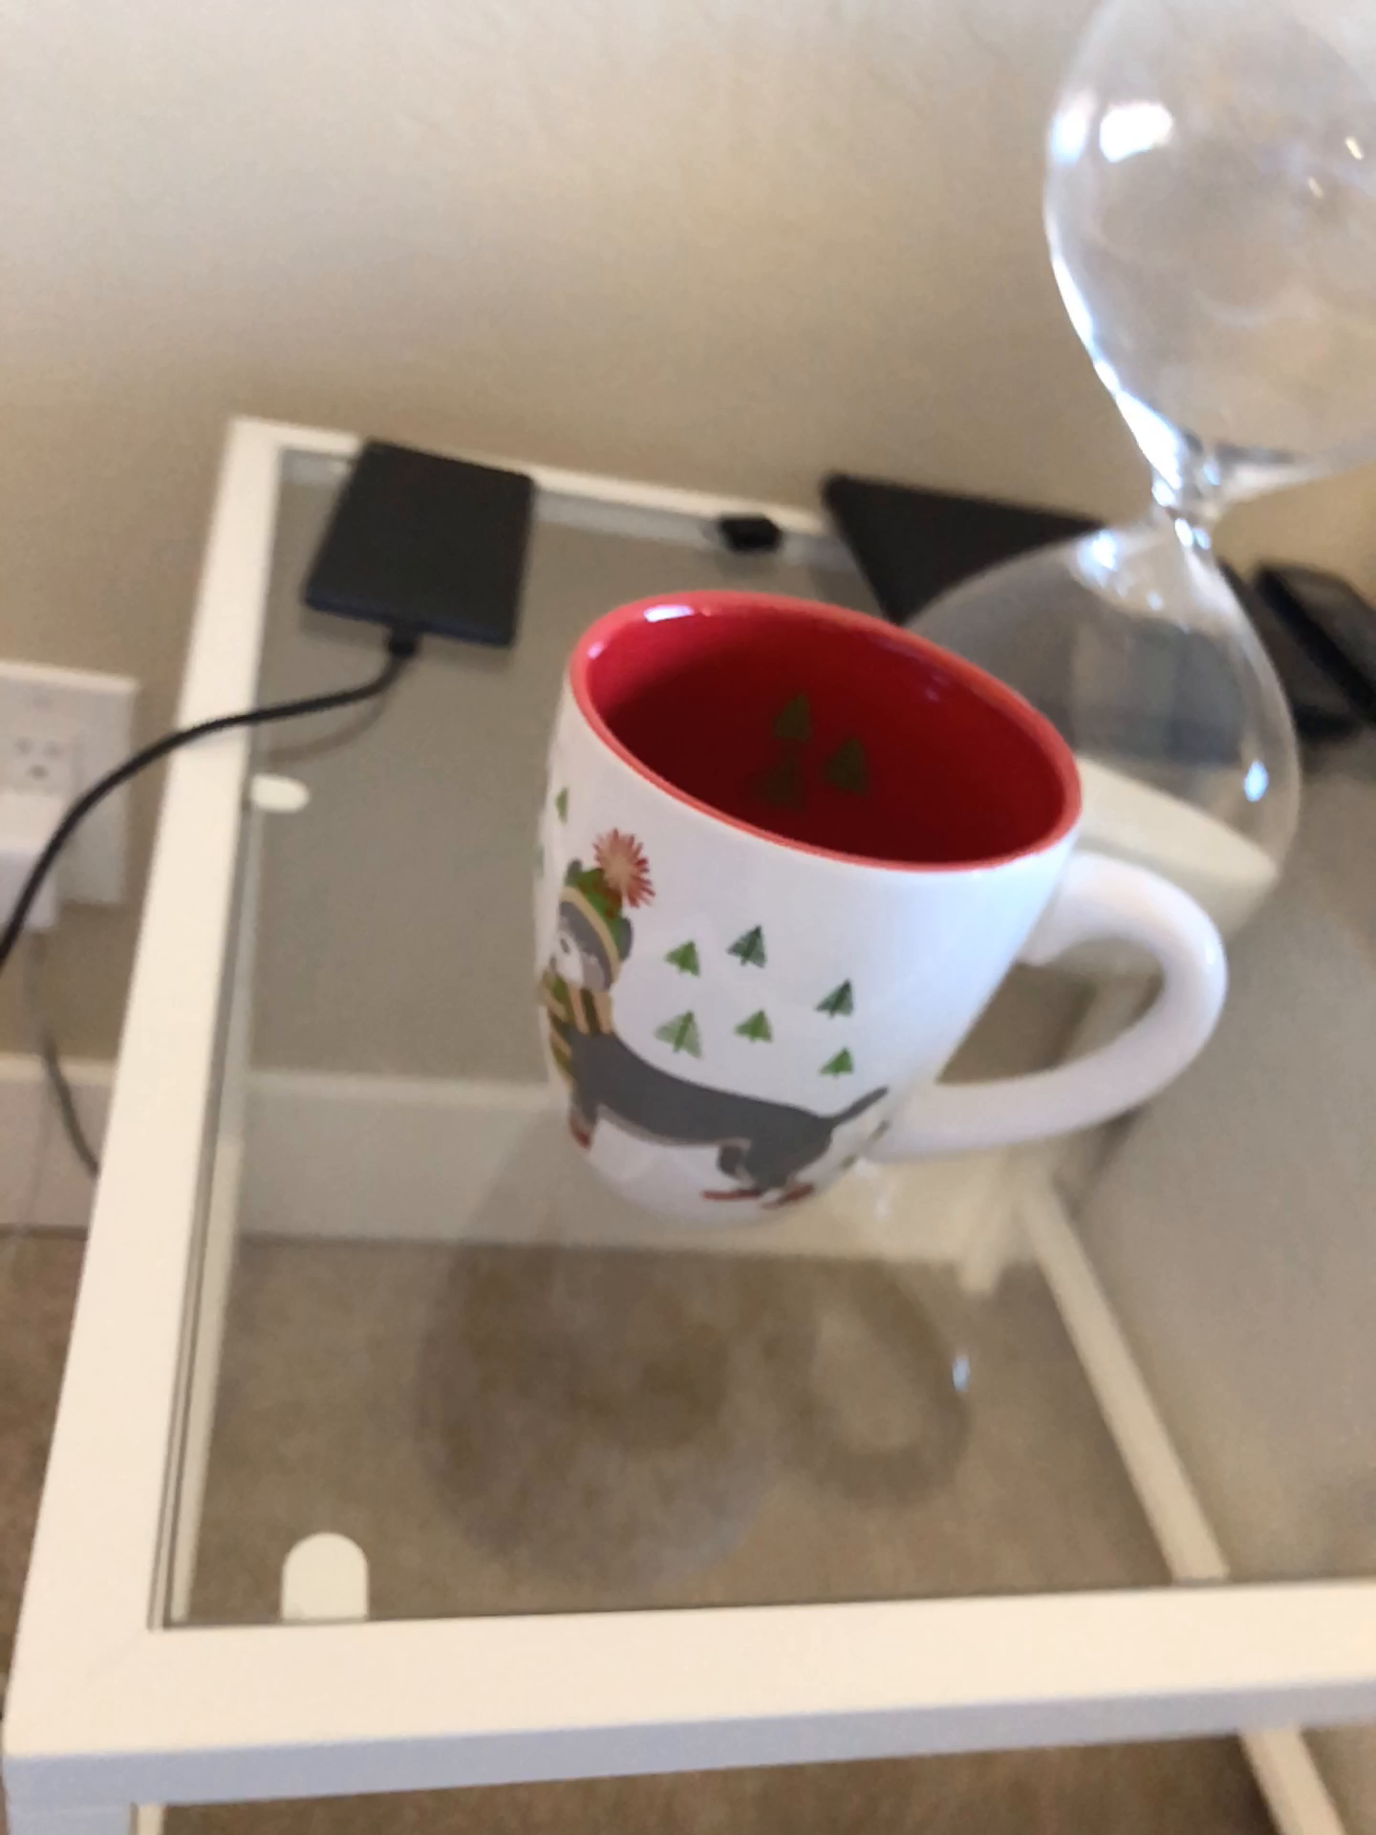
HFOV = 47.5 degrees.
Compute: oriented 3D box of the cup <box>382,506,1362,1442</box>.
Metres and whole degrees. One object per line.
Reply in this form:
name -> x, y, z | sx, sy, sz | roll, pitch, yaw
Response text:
cup -> 0.034, 0.006, 0.318 | 0.150, 0.109, 0.101 | 20, 35, 6
